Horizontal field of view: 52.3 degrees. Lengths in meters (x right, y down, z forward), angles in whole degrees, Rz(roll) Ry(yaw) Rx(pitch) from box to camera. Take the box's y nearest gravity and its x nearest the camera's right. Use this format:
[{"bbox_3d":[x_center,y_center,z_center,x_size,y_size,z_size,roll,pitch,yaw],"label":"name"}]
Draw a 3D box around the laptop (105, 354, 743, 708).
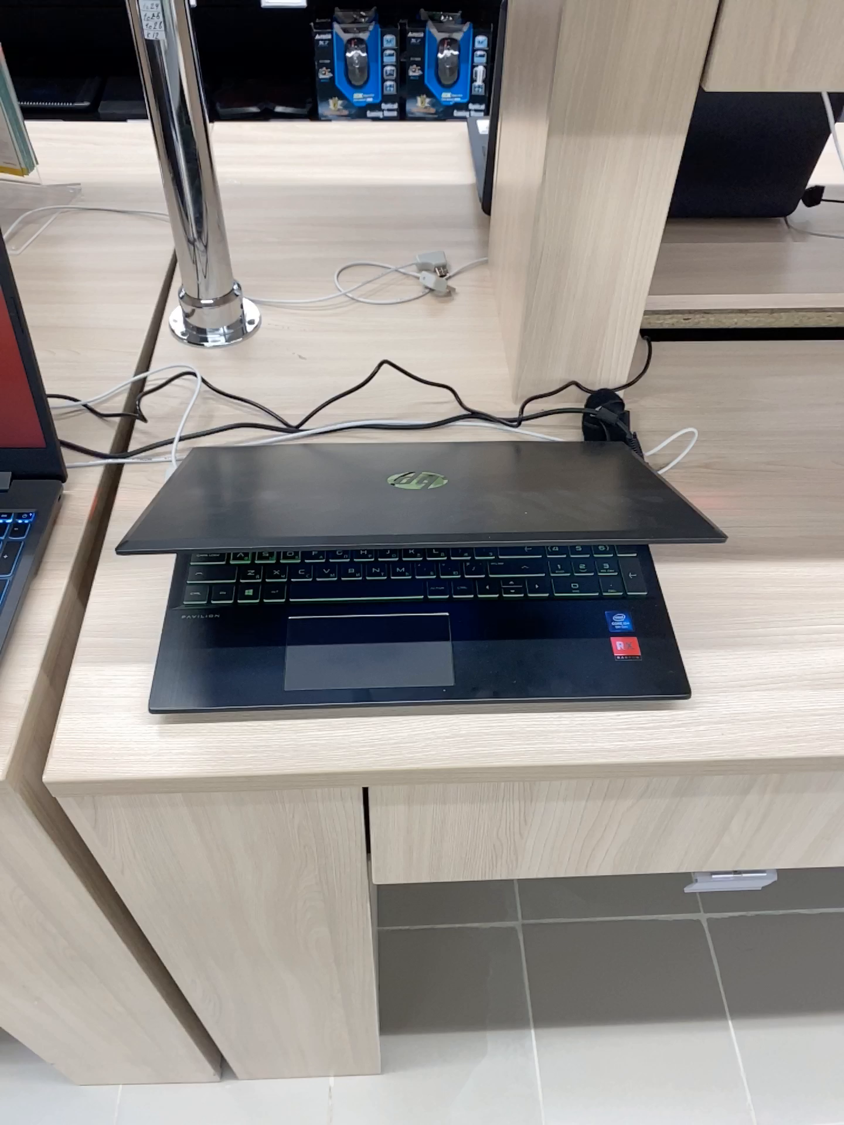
[{"bbox_3d":[-0.003,-0.032,0.608,0.364,0.108,0.236,-1,48,-2],"label":"laptop"}]
